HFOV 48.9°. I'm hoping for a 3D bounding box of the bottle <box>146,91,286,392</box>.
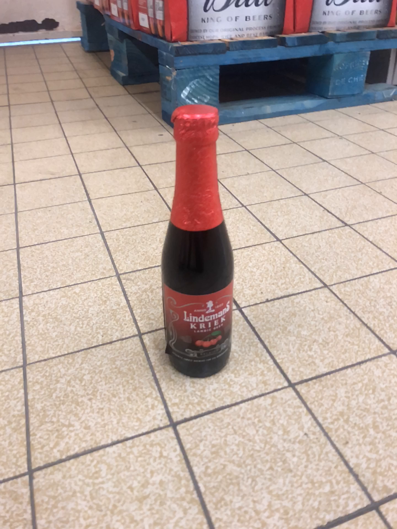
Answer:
[{"bbox_3d":[0.010,-0.009,0.309,0.060,0.199,0.060,-1,34,1],"label":"bottle"}]
